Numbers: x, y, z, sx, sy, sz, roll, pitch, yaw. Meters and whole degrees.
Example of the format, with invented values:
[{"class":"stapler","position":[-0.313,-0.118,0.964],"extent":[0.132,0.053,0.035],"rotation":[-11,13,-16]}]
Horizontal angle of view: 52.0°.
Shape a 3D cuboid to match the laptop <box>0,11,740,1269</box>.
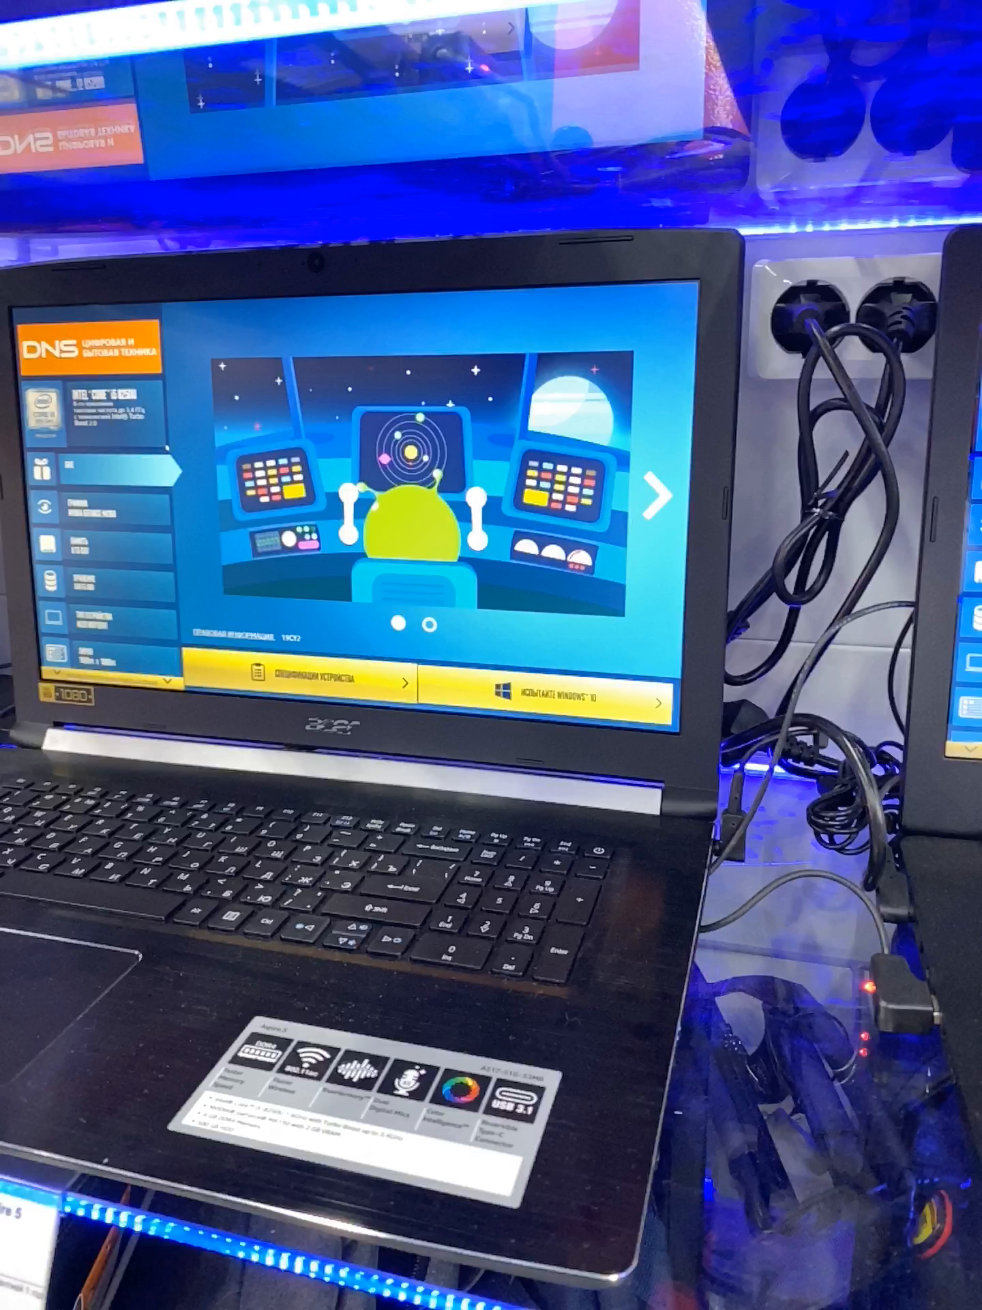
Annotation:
[{"class":"laptop","position":[-0.125,-0.035,0.421],"extent":[0.424,0.278,0.311],"rotation":[3,16,16]}]
